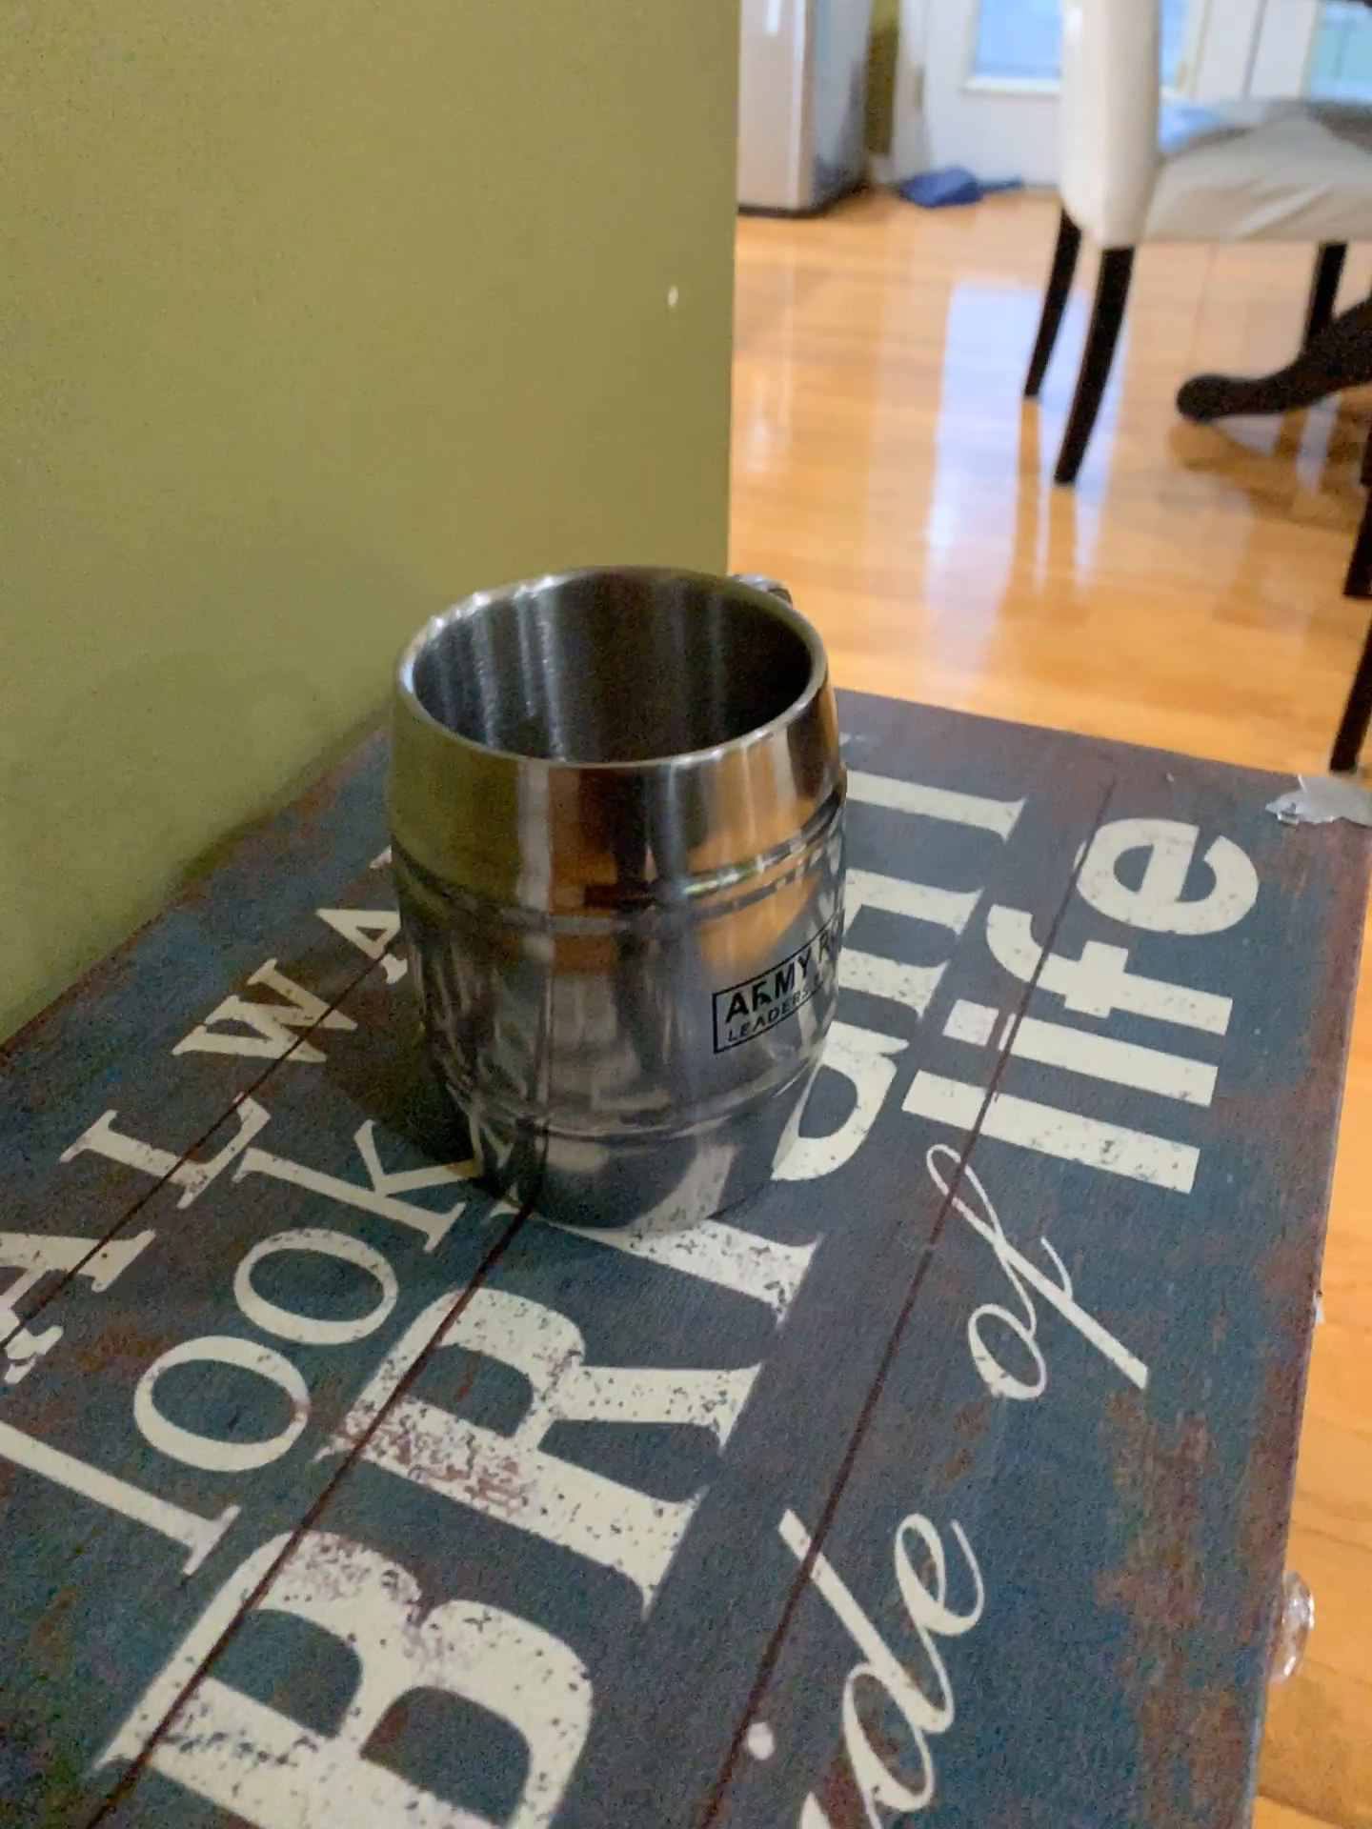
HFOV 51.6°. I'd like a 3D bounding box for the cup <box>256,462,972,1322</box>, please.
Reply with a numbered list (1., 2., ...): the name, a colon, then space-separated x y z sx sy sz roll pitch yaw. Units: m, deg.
1. cup: -0.005 -0.013 0.303 0.089 0.113 0.130 14 40 18
